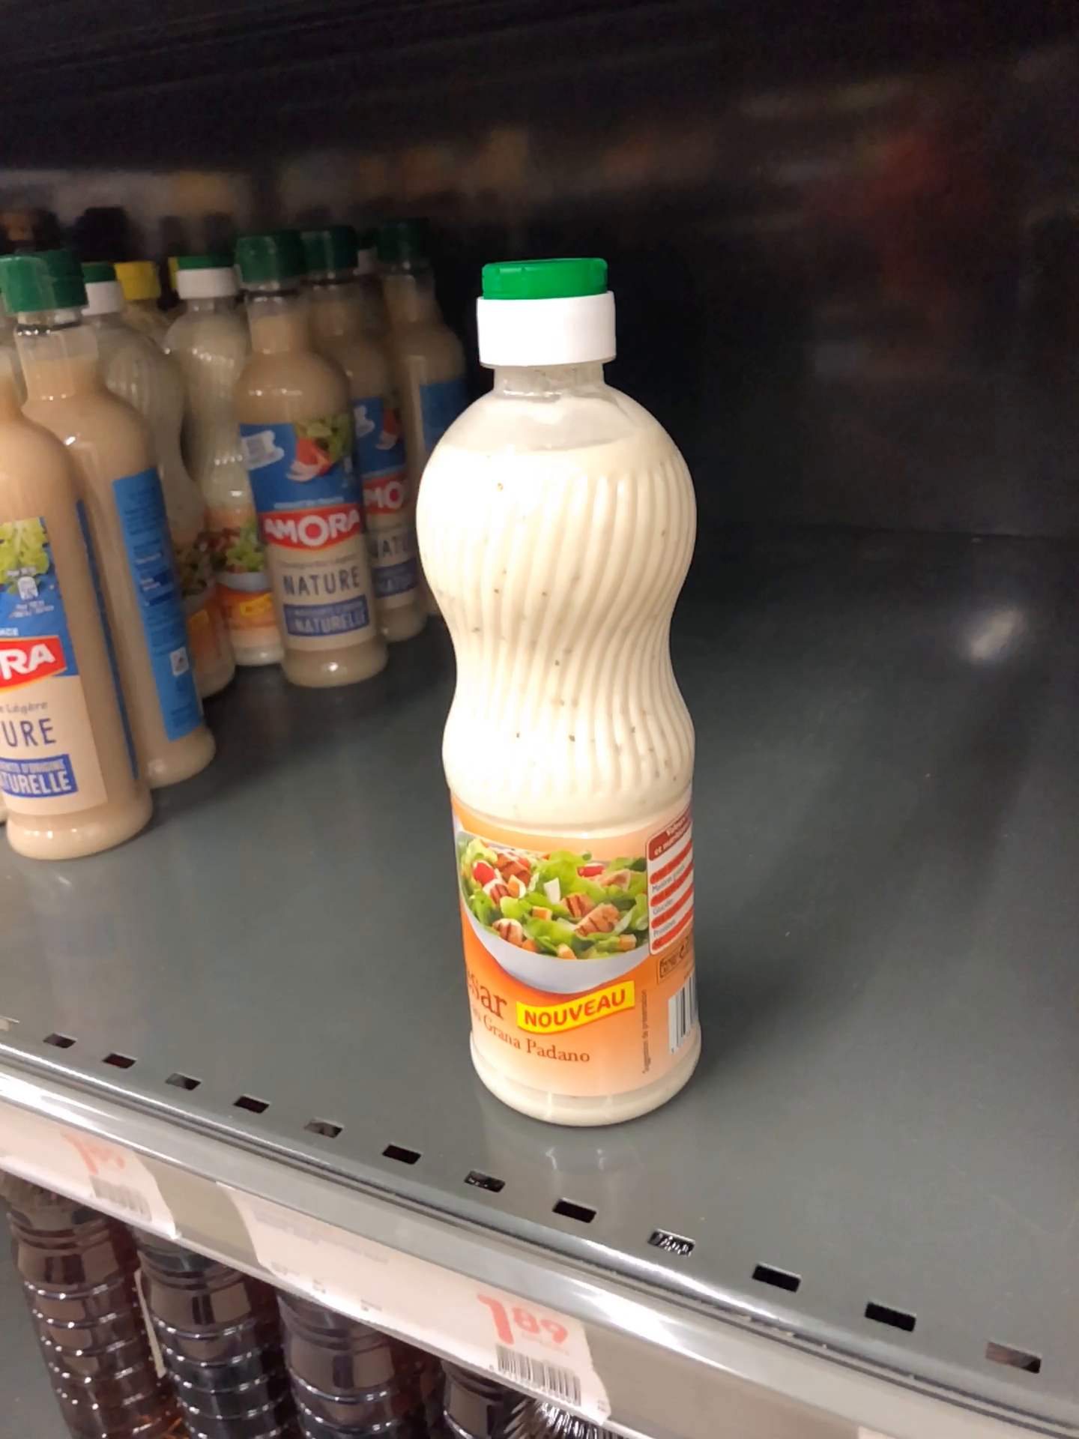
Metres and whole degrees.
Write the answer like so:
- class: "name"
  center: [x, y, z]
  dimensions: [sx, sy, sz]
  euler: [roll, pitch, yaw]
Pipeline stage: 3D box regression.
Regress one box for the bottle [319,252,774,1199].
- class: "bottle"
  center: [0.012, 0.000, 0.322]
  dimensions: [0.080, 0.229, 0.080]
  euler: [-4, 21, 1]
